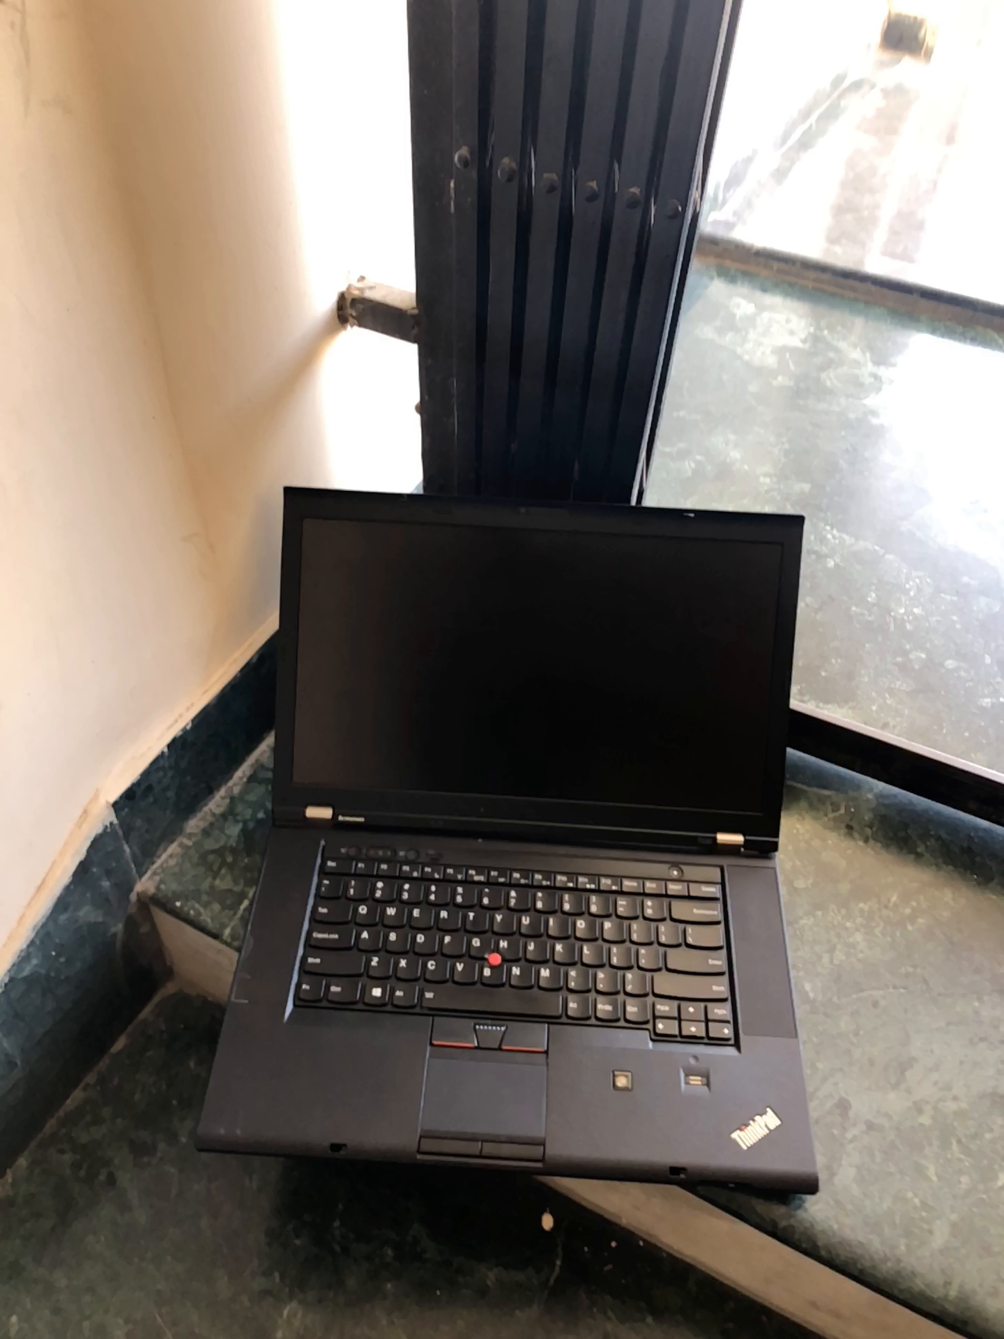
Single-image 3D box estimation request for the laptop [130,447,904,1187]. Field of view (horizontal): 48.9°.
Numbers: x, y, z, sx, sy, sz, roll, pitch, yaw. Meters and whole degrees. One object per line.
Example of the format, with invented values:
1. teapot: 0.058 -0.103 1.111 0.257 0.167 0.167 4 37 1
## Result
1. laptop: 0.014 0.071 0.699 0.359 0.181 0.390 3 49 1
